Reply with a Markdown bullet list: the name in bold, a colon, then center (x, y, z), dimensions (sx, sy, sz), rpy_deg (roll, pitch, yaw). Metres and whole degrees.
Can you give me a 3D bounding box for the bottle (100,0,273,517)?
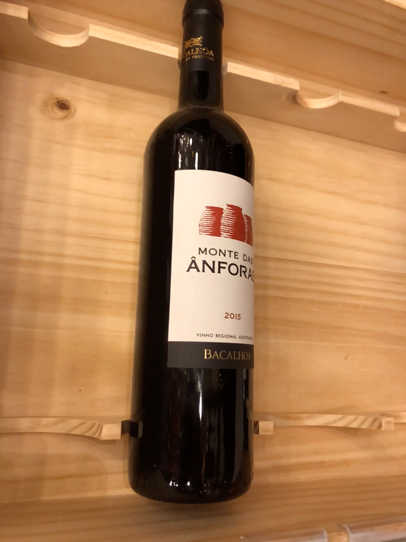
- **bottle**: center (-0.008, -0.038, 0.274), dimensions (0.080, 0.060, 0.320), rpy_deg (5, 80, -20)
